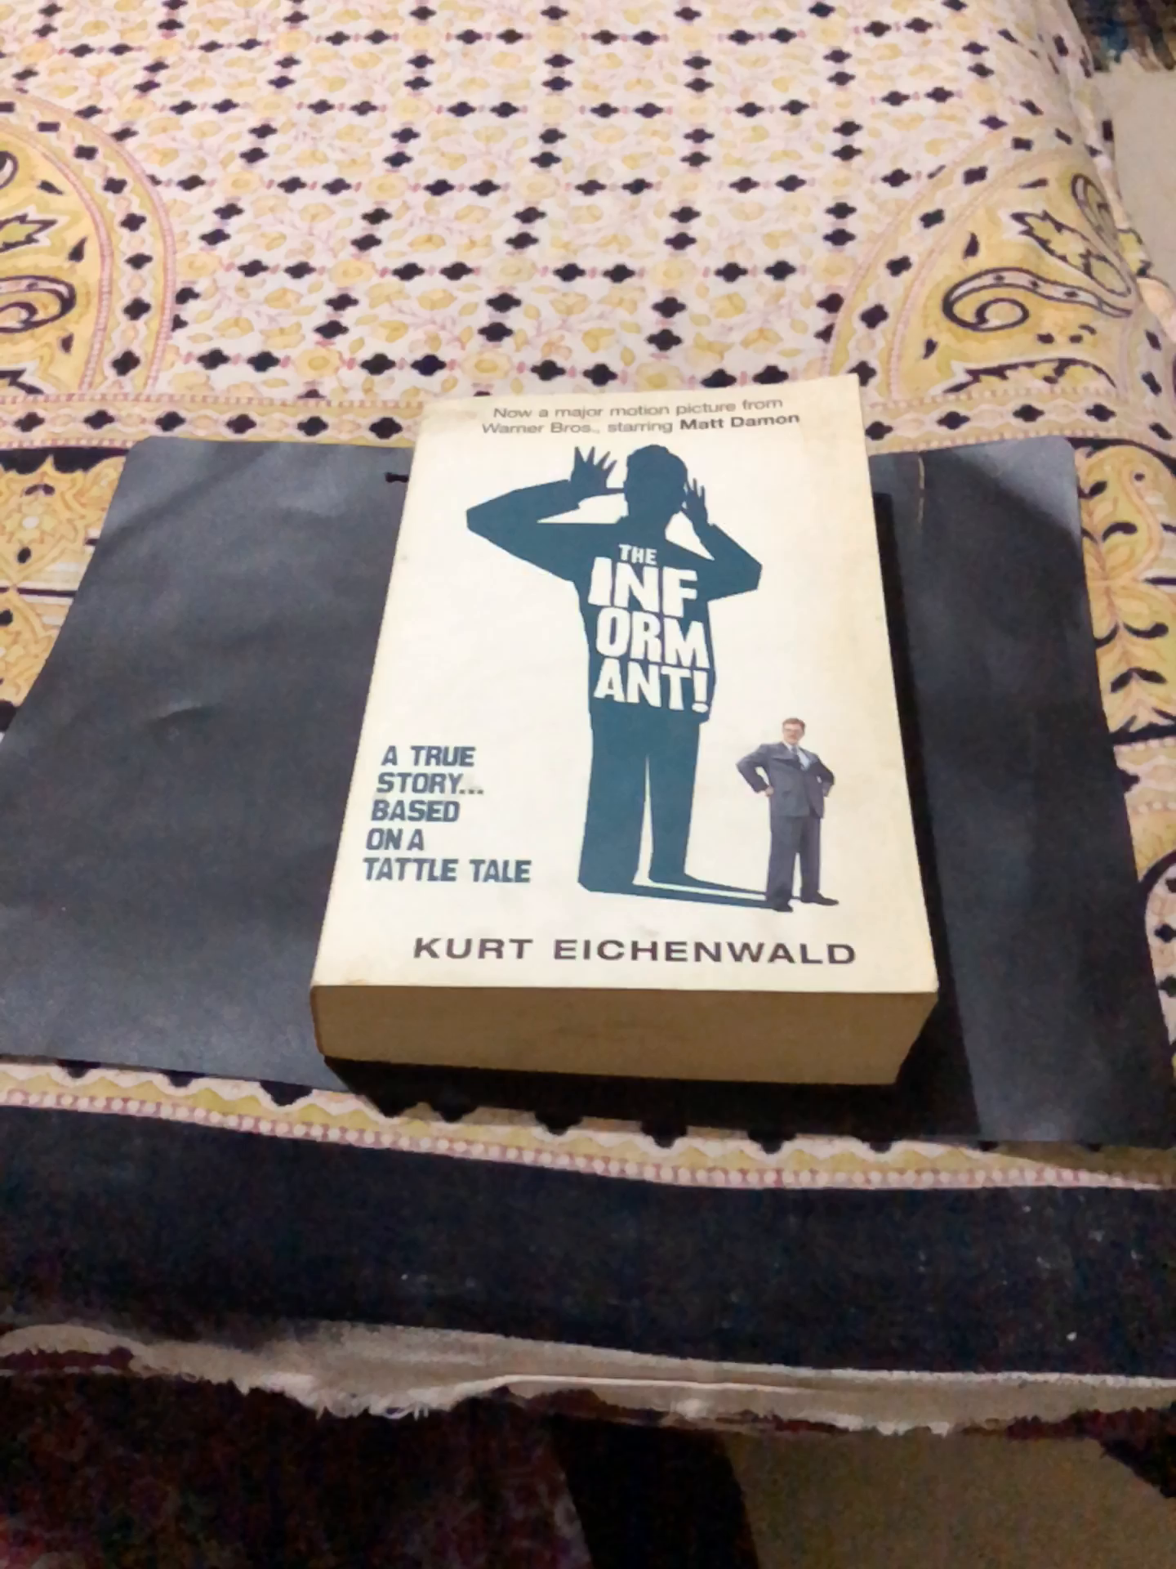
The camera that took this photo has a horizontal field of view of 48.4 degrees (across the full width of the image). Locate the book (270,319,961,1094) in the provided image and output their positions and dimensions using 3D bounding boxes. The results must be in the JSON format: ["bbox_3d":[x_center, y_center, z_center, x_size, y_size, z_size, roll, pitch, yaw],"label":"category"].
[{"bbox_3d":[0.012,-0.036,0.355,0.140,0.050,0.230,0,52,4],"label":"book"}]
